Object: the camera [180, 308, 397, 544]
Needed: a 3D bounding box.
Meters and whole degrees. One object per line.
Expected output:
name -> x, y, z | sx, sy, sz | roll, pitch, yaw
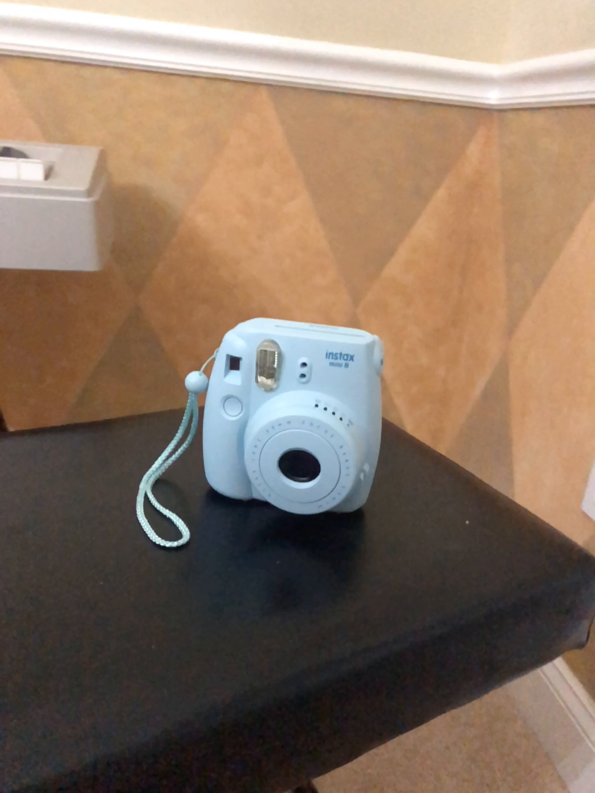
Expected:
camera -> -0.005, 0.015, 0.423 | 0.120, 0.118, 0.068 | 8, 21, 7
